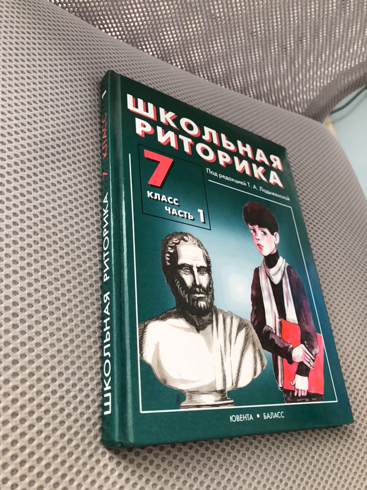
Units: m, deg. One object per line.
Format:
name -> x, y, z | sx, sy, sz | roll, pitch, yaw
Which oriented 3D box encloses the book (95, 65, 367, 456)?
book -> 0.028, 0.006, 0.260 | 0.167, 0.030, 0.211 | 12, 59, -34
